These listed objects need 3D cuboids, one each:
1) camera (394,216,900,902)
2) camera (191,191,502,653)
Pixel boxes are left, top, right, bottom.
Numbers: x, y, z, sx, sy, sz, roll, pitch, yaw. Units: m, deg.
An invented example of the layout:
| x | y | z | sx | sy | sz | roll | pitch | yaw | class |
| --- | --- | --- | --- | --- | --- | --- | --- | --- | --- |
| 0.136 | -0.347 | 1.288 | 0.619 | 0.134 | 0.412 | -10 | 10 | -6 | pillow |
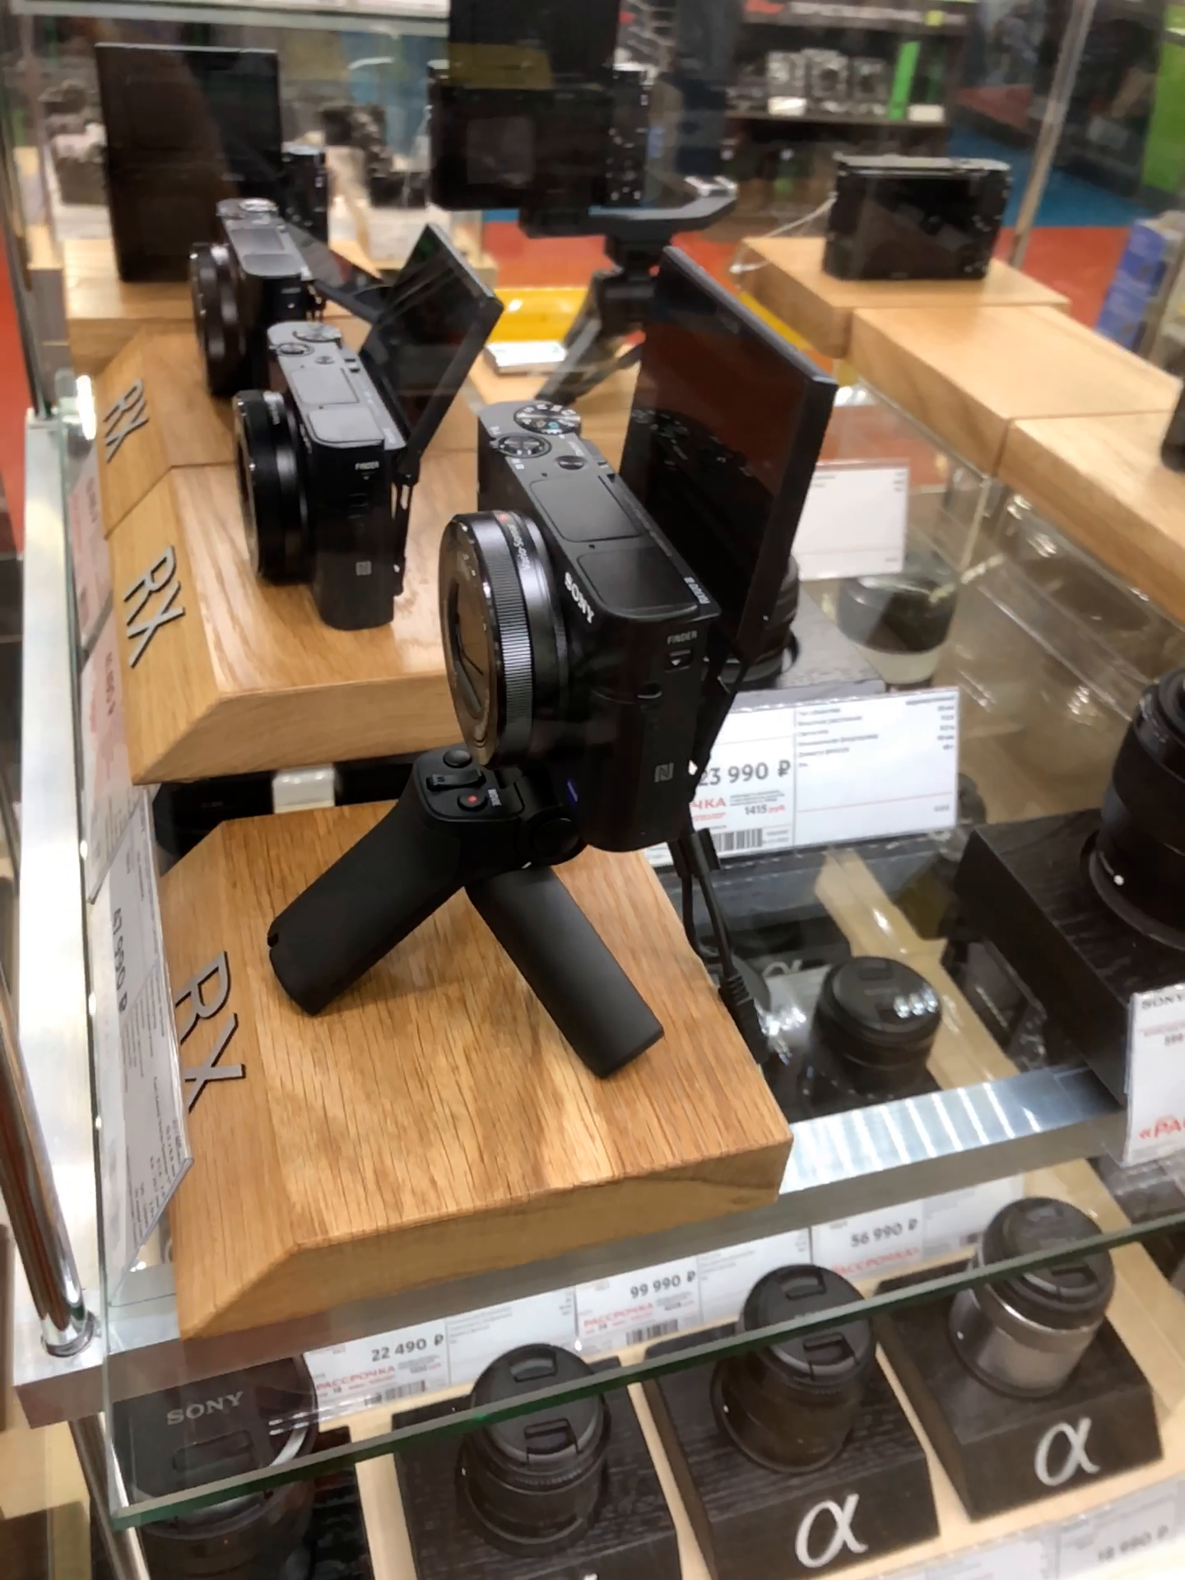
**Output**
| x | y | z | sx | sy | sz | roll | pitch | yaw | class |
| --- | --- | --- | --- | --- | --- | --- | --- | --- | --- |
| 0.000 | -0.053 | 0.275 | 0.062 | 0.097 | 0.109 | -7 | 39 | -17 | camera |
| -0.077 | -0.115 | 0.398 | 0.069 | 0.097 | 0.109 | -7 | 39 | -17 | camera |
